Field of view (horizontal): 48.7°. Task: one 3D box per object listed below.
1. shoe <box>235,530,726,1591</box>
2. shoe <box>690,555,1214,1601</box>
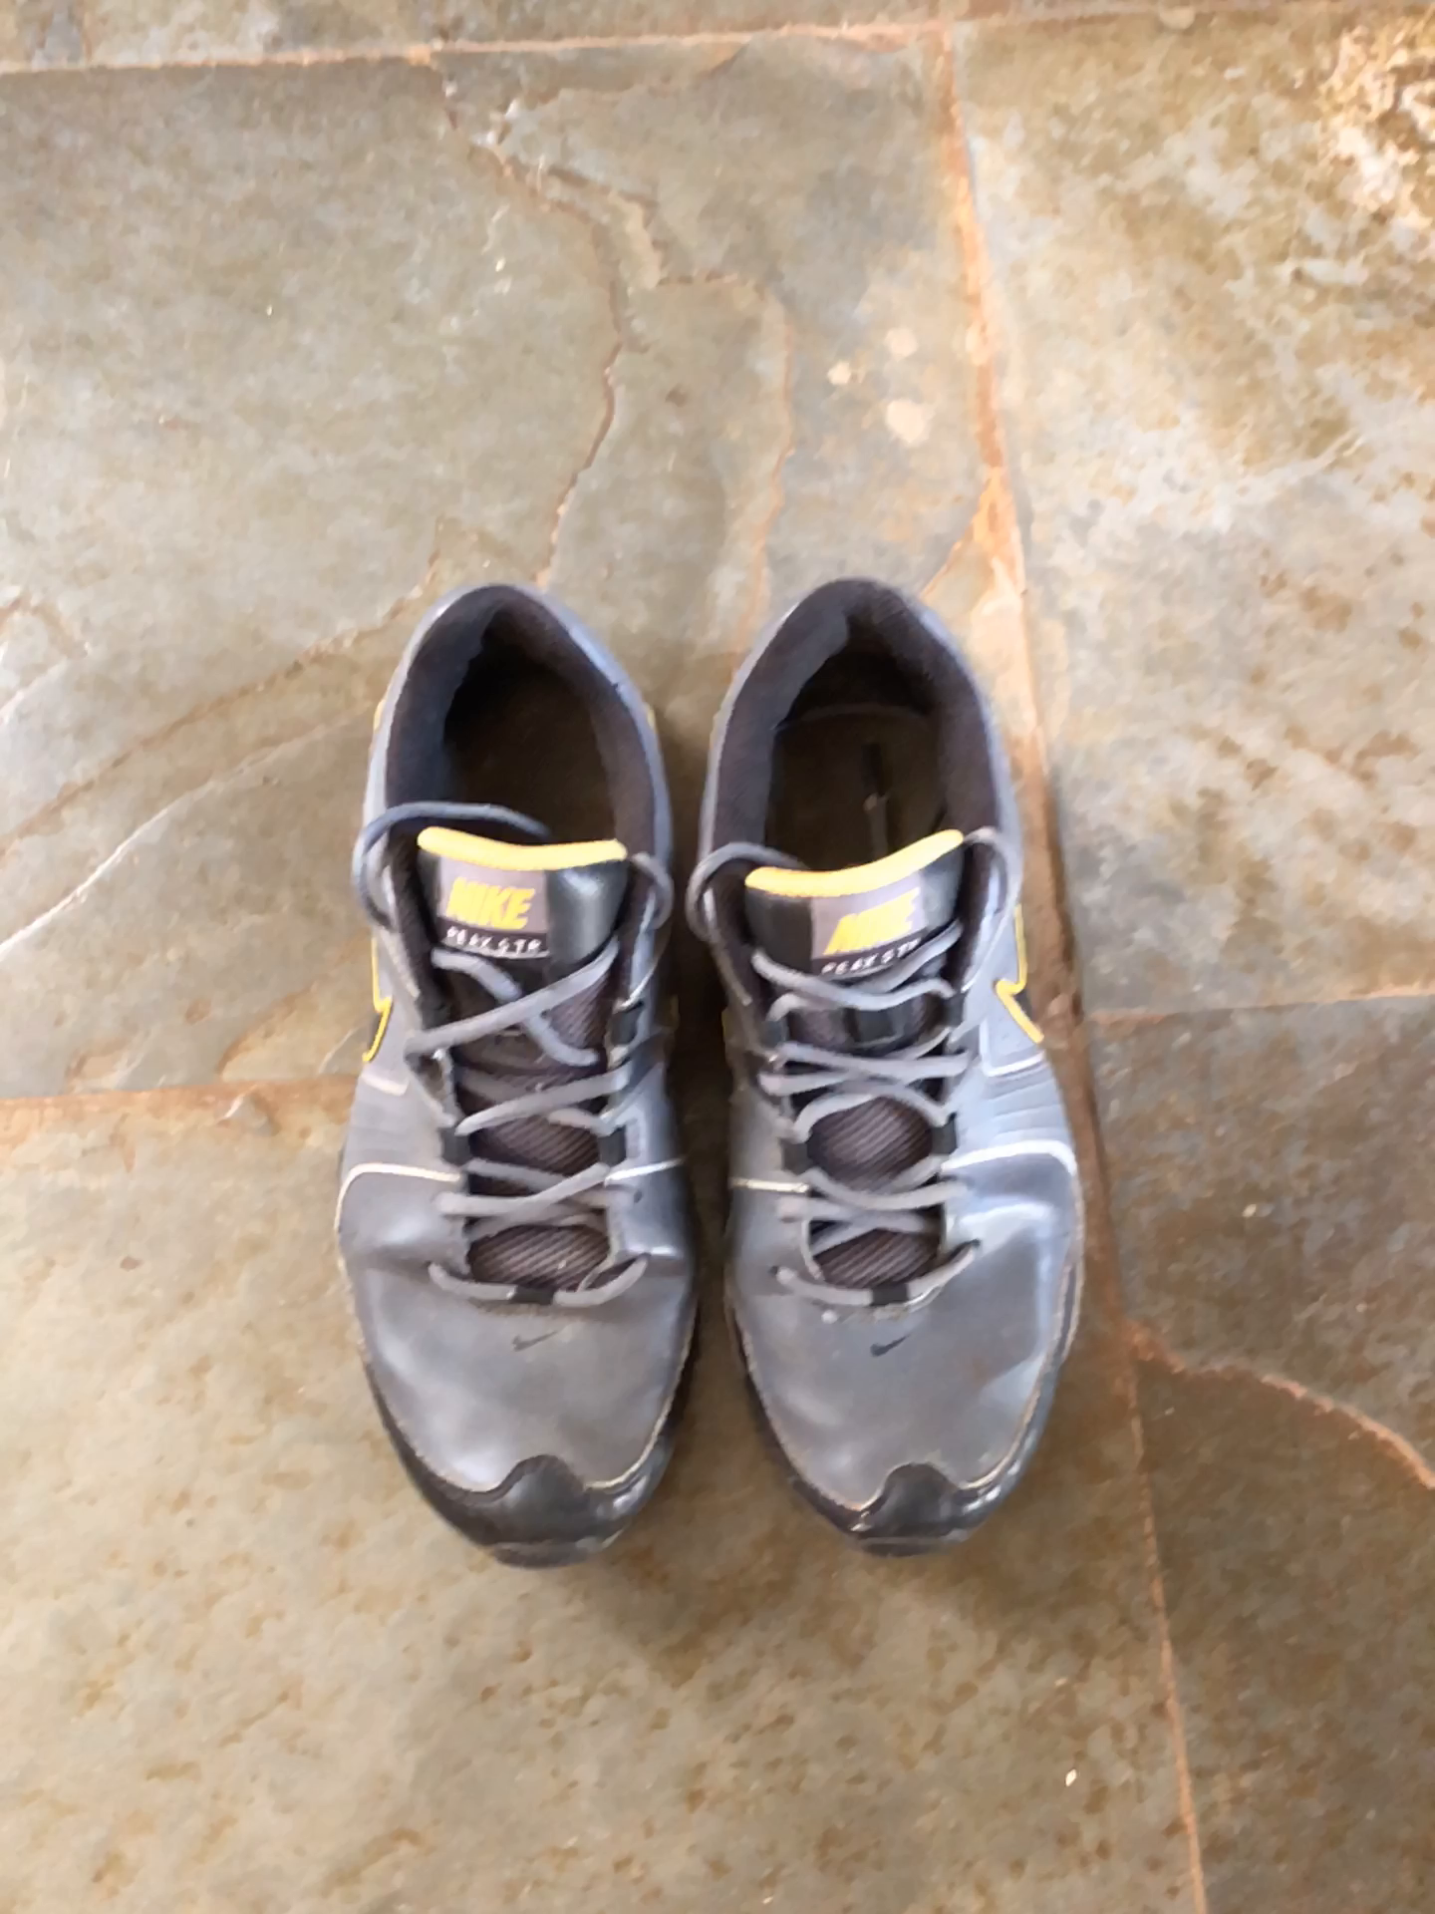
[{"bbox_3d":[-0.054,0.025,0.405,0.100,0.100,0.241,-2,74,-1],"label":"shoe"},{"bbox_3d":[0.048,0.030,0.412,0.100,0.100,0.241,-2,74,-1],"label":"shoe"}]
